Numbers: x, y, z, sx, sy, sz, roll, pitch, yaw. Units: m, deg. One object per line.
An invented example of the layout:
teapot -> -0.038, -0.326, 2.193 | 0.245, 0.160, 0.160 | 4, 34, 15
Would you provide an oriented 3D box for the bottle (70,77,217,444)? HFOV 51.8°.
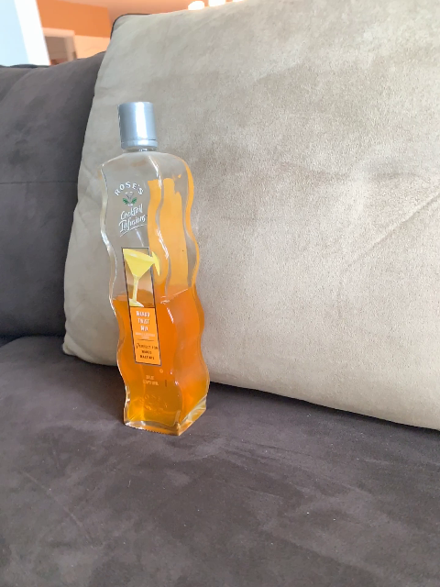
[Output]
bottle -> -0.064, -0.026, 0.421 | 0.080, 0.299, 0.080 | -3, 11, 0
